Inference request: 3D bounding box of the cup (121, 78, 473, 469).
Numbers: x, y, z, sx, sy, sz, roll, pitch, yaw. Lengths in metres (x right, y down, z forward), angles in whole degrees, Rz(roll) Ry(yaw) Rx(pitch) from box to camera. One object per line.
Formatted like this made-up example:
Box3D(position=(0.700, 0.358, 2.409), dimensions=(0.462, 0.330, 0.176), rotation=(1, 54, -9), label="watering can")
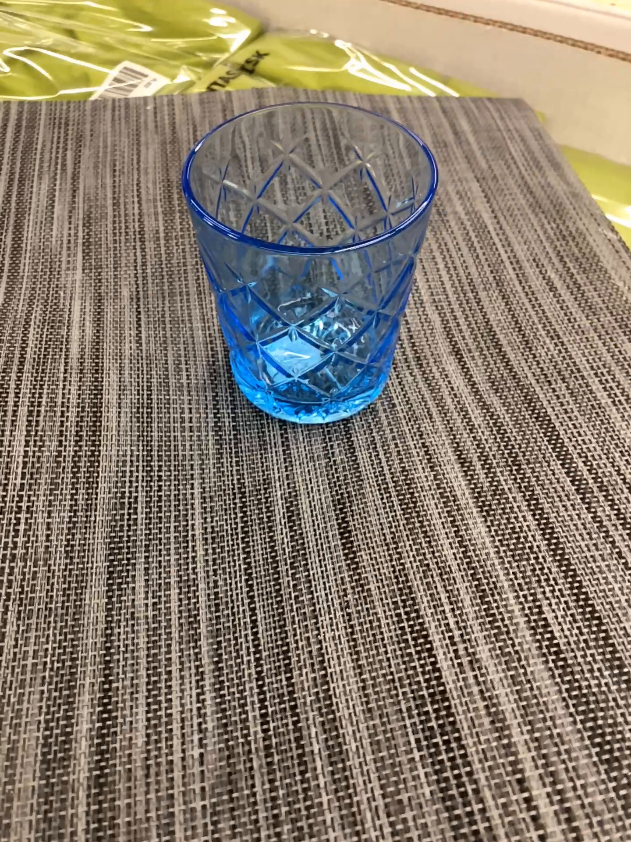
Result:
Box3D(position=(-0.003, -0.050, 0.247), dimensions=(0.090, 0.090, 0.080), rotation=(11, 52, 5), label="cup")
